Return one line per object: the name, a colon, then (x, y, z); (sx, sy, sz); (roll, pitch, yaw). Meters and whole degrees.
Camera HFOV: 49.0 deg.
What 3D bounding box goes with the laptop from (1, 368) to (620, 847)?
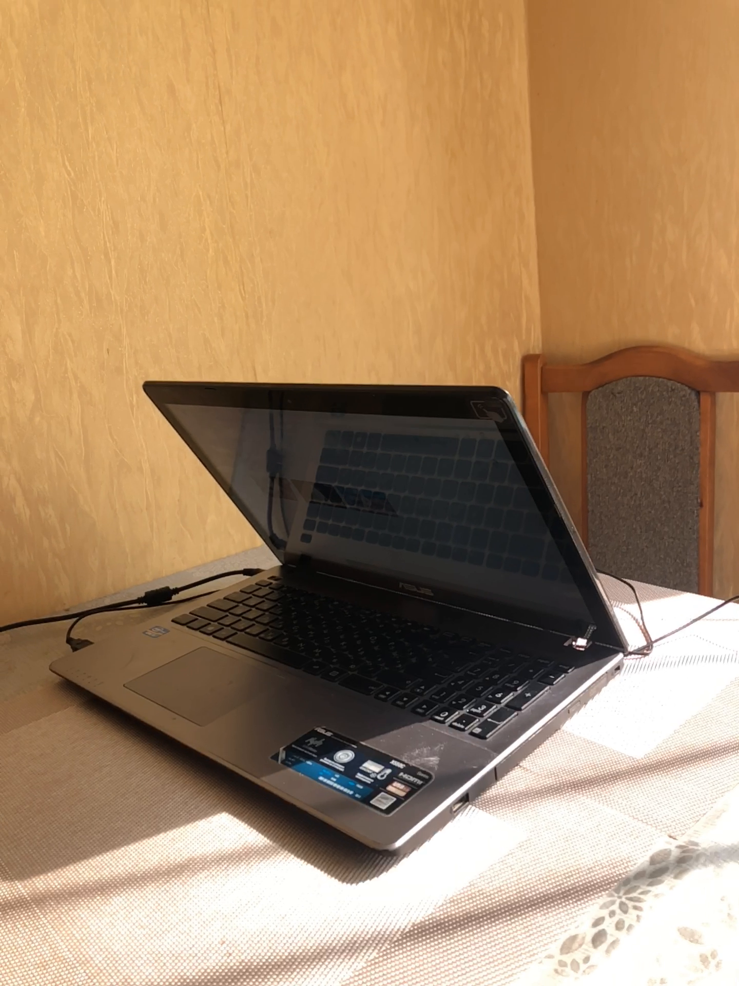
laptop: (-0.052, 0.028, 0.586); (0.370, 0.196, 0.243); (8, 20, 44)
